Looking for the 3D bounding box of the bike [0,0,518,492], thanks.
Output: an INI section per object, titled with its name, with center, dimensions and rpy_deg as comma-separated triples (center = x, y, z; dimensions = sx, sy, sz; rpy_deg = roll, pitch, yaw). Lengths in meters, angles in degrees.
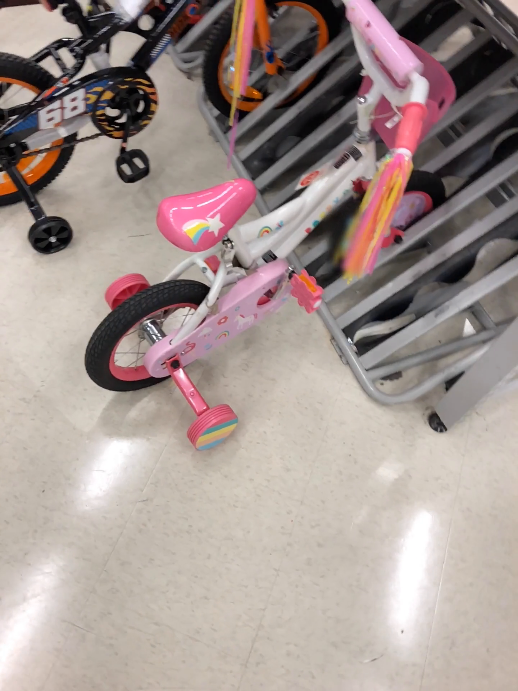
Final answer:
[bike]
center = 0.084, -0.277, 1.067
dimensions = 0.944, 0.592, 0.517
rpy_deg = -28, 67, -21
